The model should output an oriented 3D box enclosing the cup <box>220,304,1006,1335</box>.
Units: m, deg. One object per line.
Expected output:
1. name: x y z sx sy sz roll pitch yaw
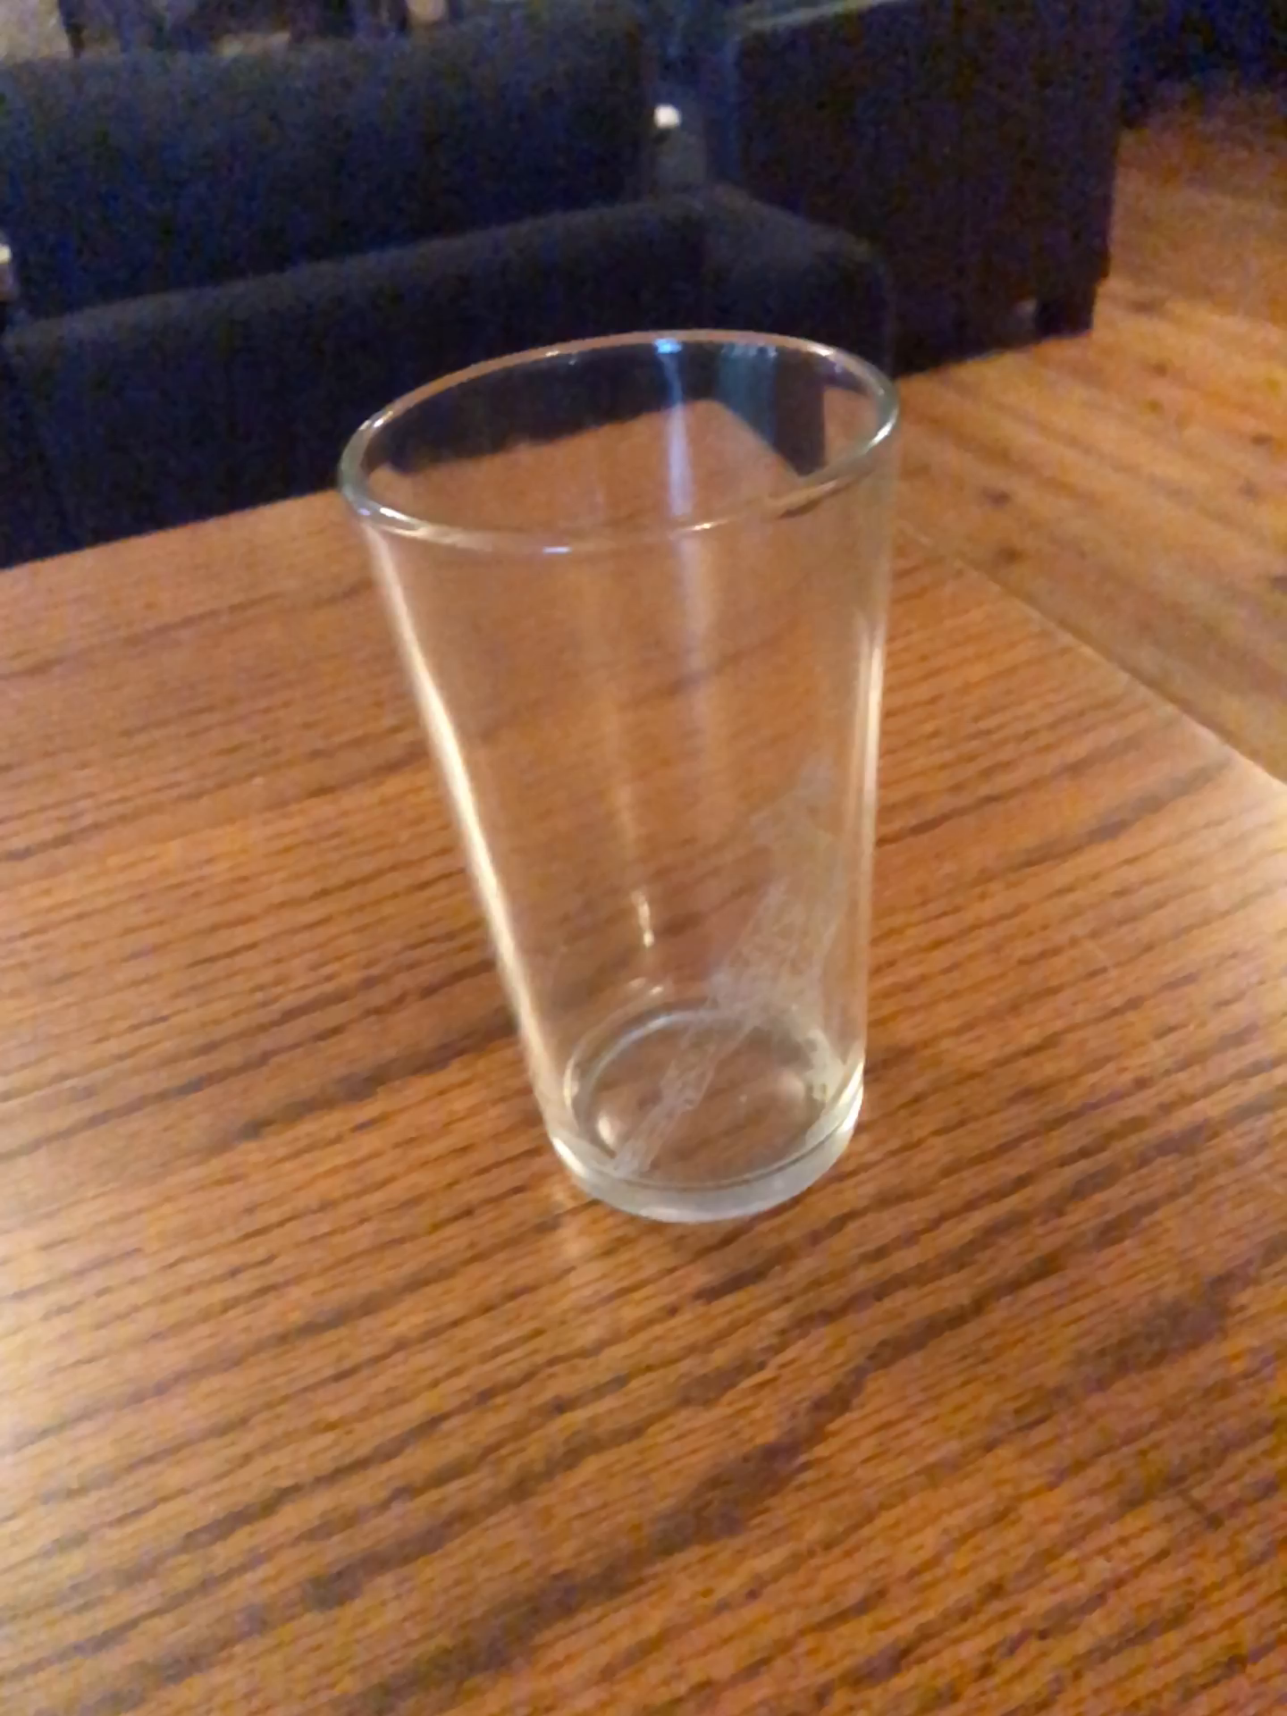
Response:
1. cup: -0.001 -0.010 0.265 0.092 0.144 0.090 -5 36 4
